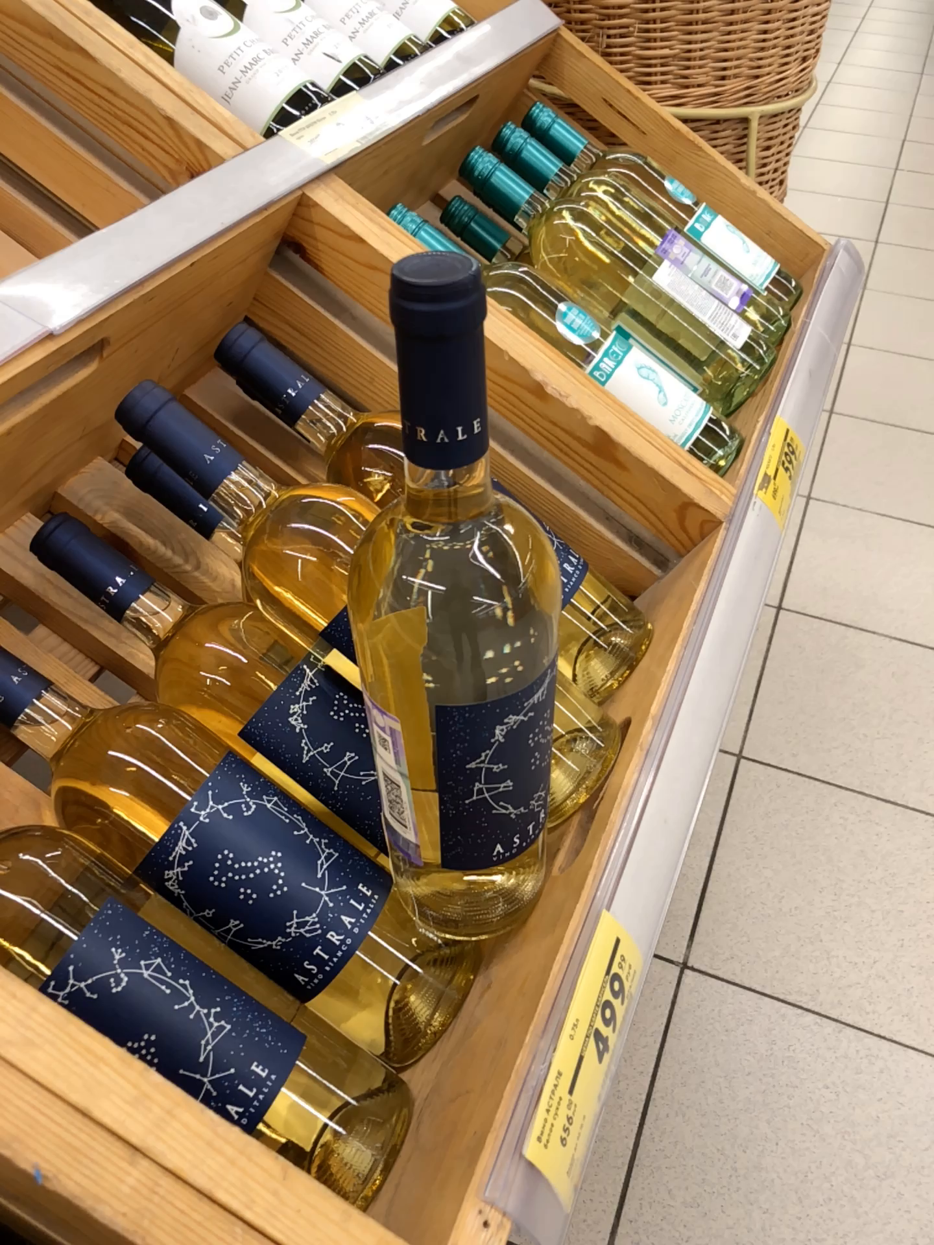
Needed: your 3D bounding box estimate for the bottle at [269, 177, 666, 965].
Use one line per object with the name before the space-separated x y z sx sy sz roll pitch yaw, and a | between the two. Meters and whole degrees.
bottle | 0.005 -0.003 0.384 0.080 0.278 0.090 20 44 24
